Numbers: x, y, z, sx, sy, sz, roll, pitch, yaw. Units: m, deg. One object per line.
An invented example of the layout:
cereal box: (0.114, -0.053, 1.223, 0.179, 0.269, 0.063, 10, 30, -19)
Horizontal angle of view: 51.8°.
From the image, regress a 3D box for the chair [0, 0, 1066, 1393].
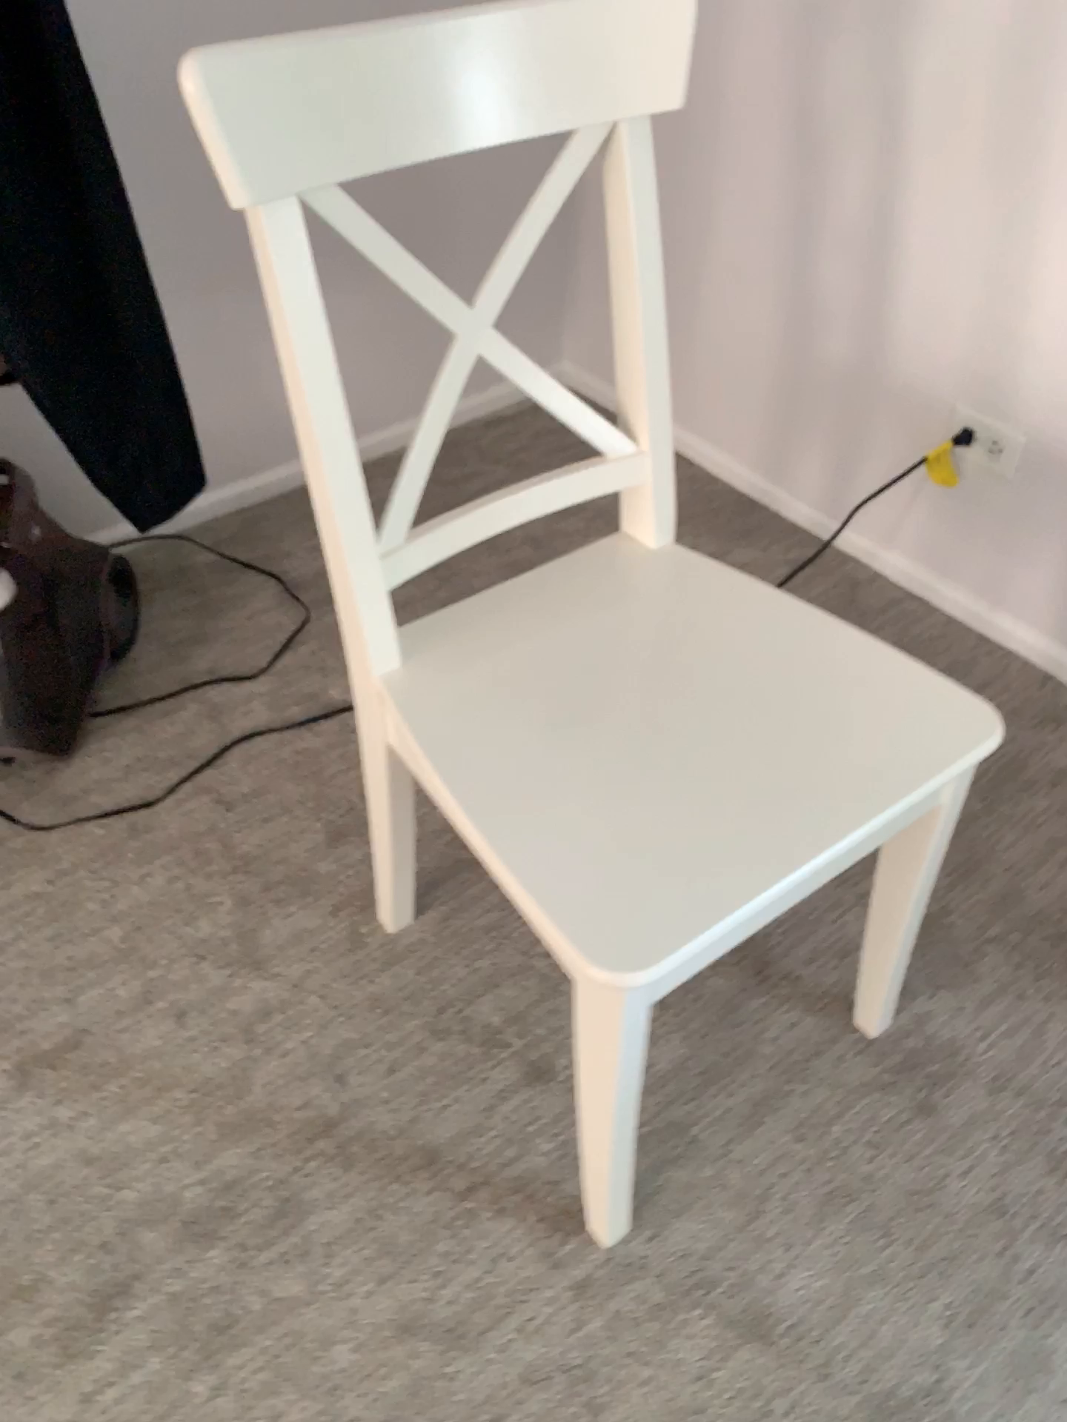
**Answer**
chair: (0.074, -0.062, 0.846, 0.611, 0.765, 0.573, -28, 50, -26)
